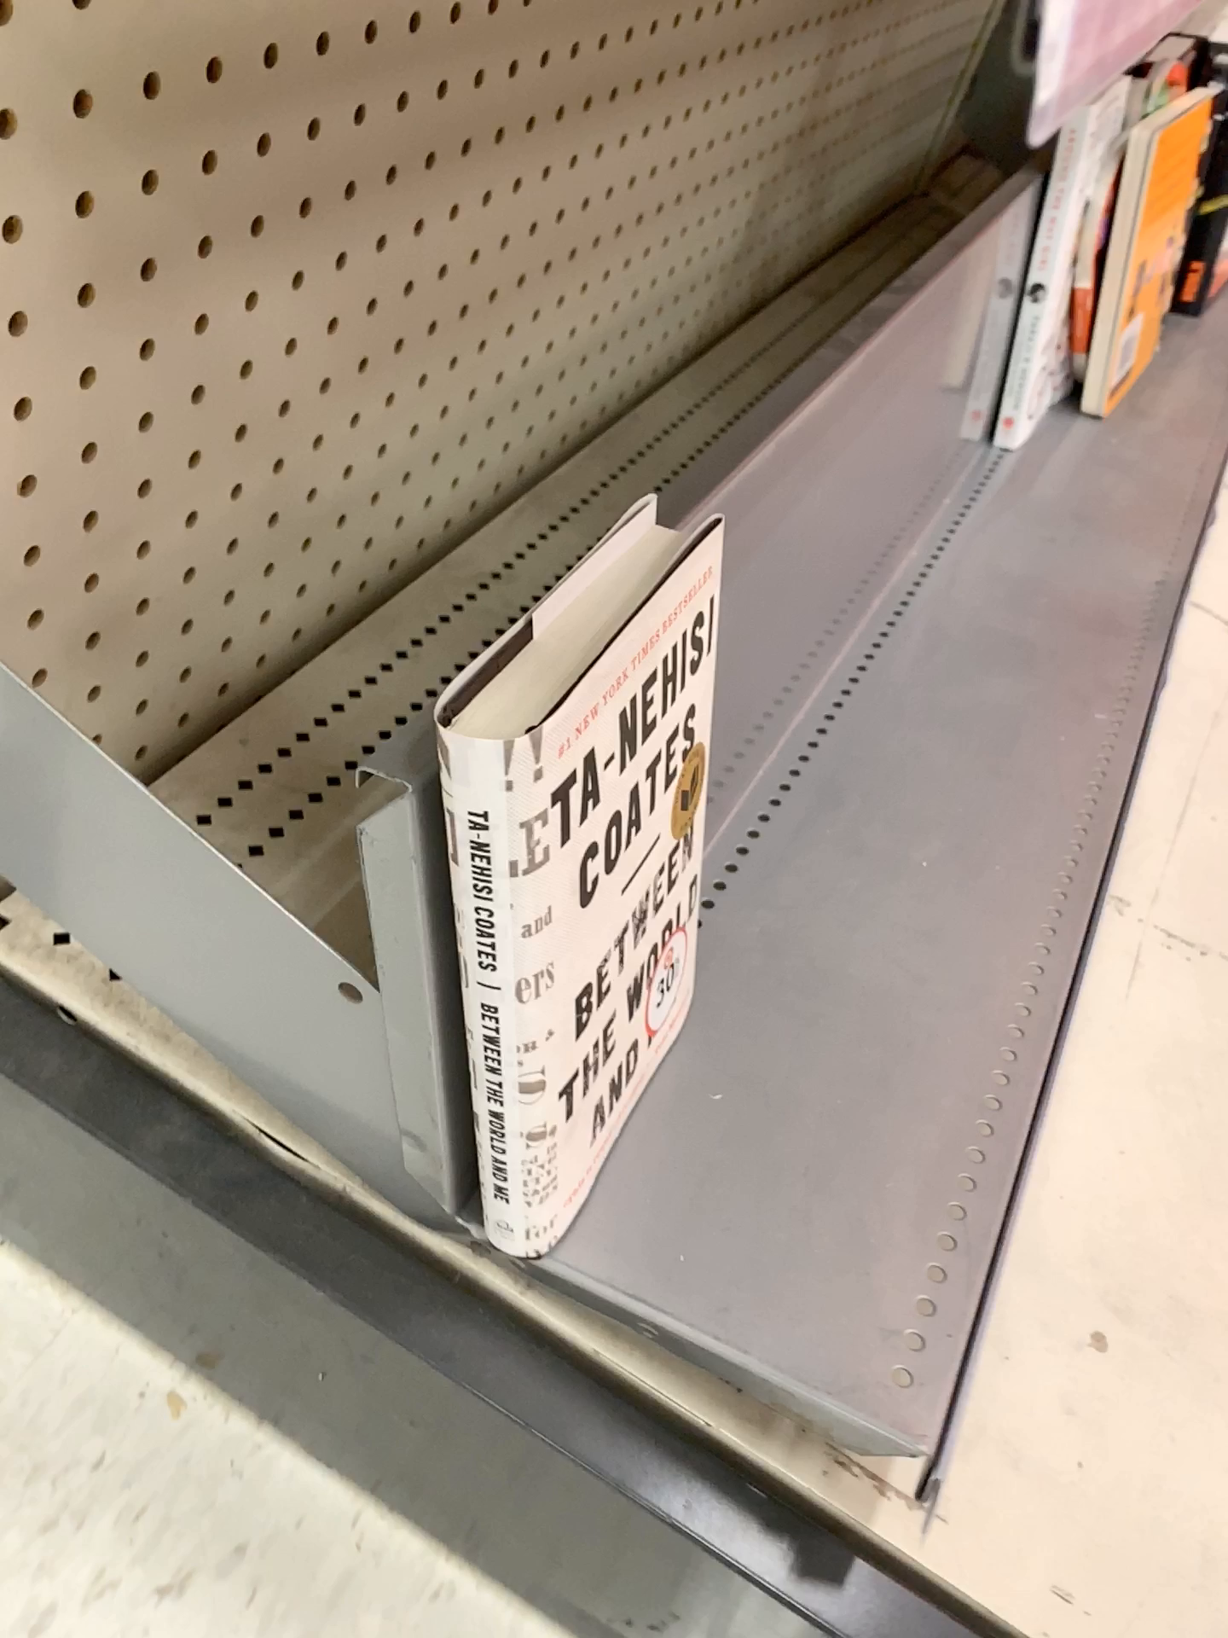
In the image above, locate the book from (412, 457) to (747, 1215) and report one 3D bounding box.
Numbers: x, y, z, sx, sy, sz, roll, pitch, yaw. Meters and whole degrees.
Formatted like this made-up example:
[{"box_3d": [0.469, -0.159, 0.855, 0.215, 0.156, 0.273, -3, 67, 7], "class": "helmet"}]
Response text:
[{"box_3d": [0.000, 0.007, 0.381, 0.030, 0.186, 0.130, 15, 42, 21], "class": "book"}]
